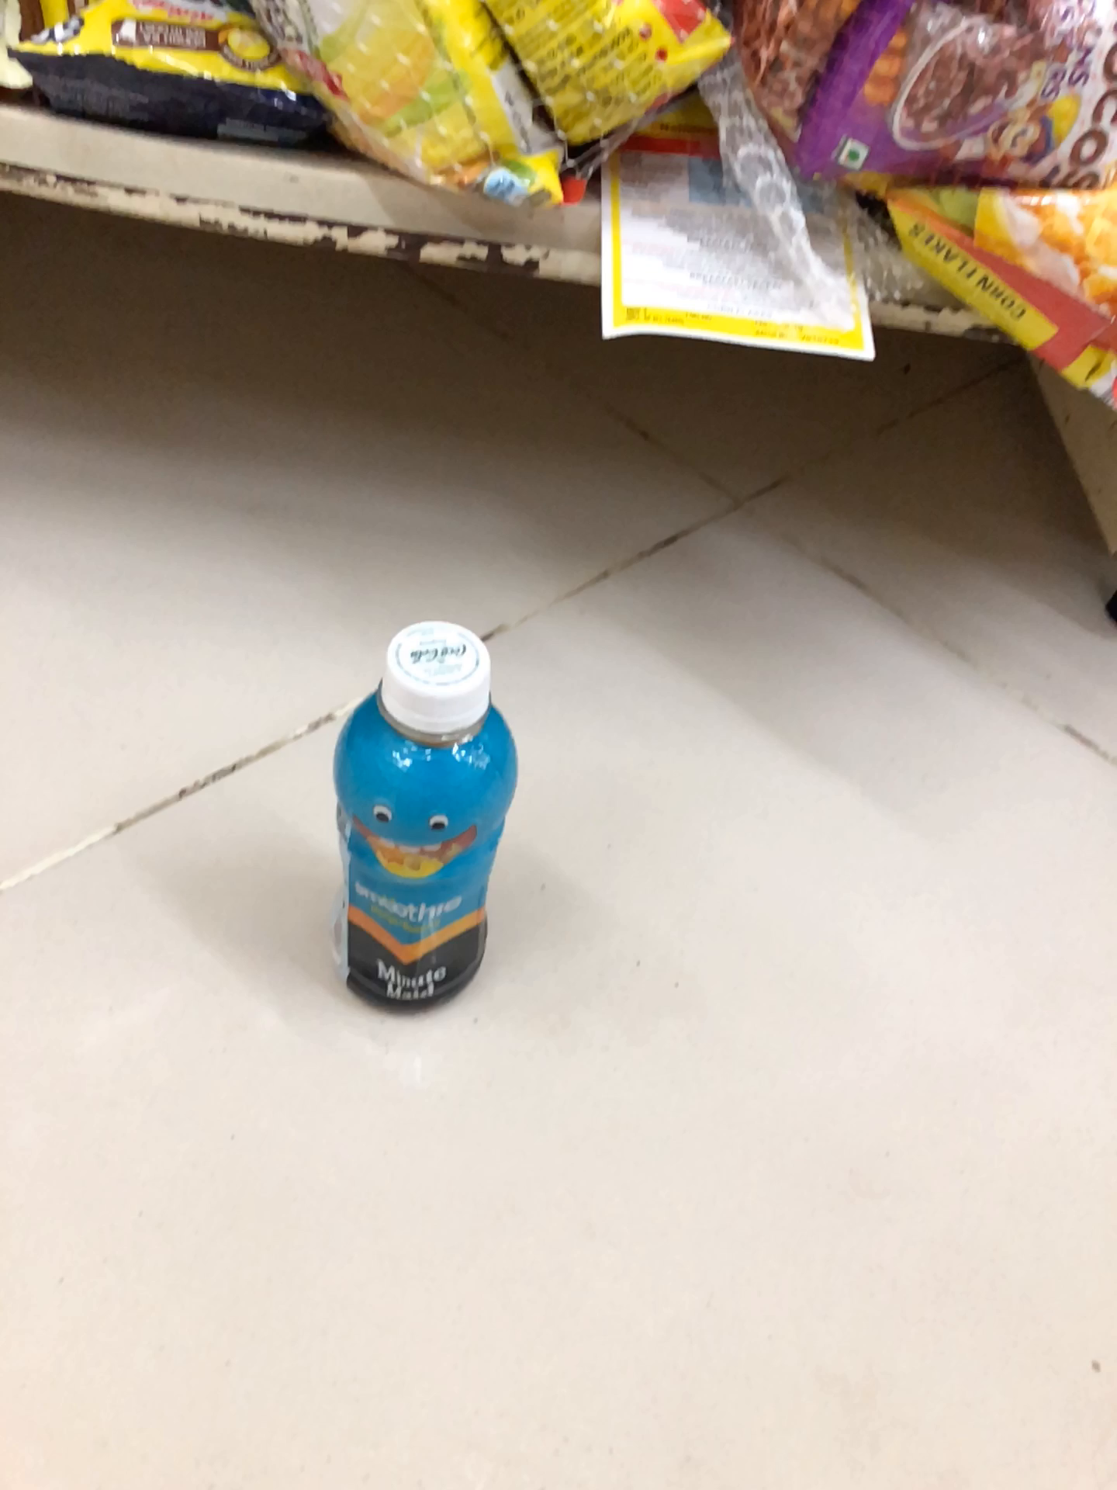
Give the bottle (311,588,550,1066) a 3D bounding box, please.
[{"bbox_3d":[-0.045,0.034,0.398,0.060,0.159,0.060,6,44,-6],"label":"bottle"}]
